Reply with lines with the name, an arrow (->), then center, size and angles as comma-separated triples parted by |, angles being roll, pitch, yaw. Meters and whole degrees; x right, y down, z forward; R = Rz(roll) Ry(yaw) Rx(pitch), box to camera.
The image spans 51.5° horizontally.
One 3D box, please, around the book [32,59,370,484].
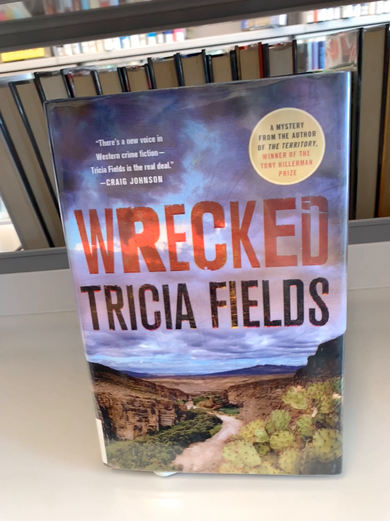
book -> 0.010, 0.019, 0.221 | 0.150, 0.213, 0.034 | -3, 15, 9
